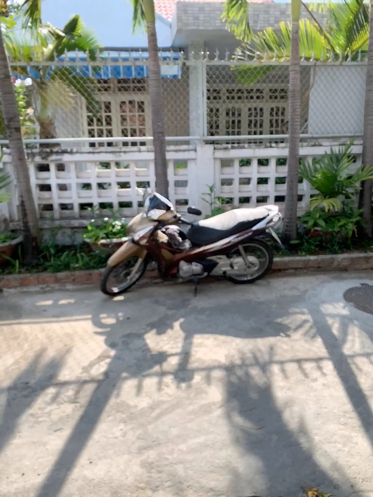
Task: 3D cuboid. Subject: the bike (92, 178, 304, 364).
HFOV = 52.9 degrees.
[{"bbox_3d":[0.142,0.110,3.702,1.975,1.444,0.614,-6,14,-19],"label":"bike"}]
